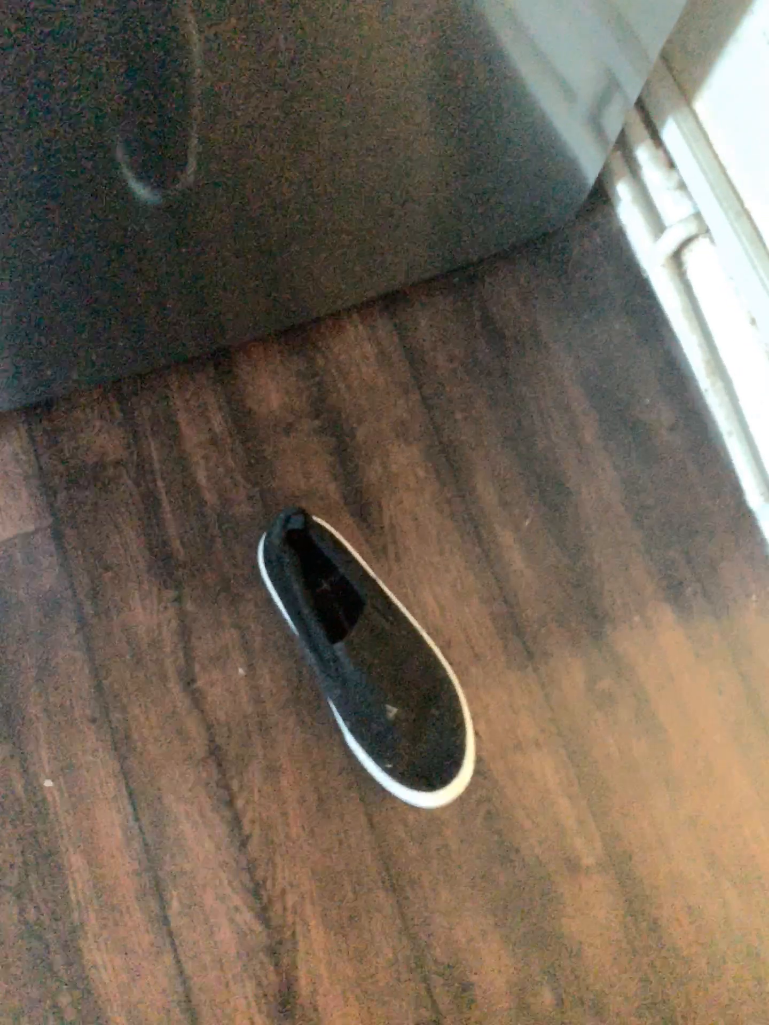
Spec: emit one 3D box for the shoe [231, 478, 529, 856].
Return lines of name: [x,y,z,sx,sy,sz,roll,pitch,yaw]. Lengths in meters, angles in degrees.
shoe: [-0.008,0.109,0.585,0.100,0.080,0.238,-29,80,-11]
